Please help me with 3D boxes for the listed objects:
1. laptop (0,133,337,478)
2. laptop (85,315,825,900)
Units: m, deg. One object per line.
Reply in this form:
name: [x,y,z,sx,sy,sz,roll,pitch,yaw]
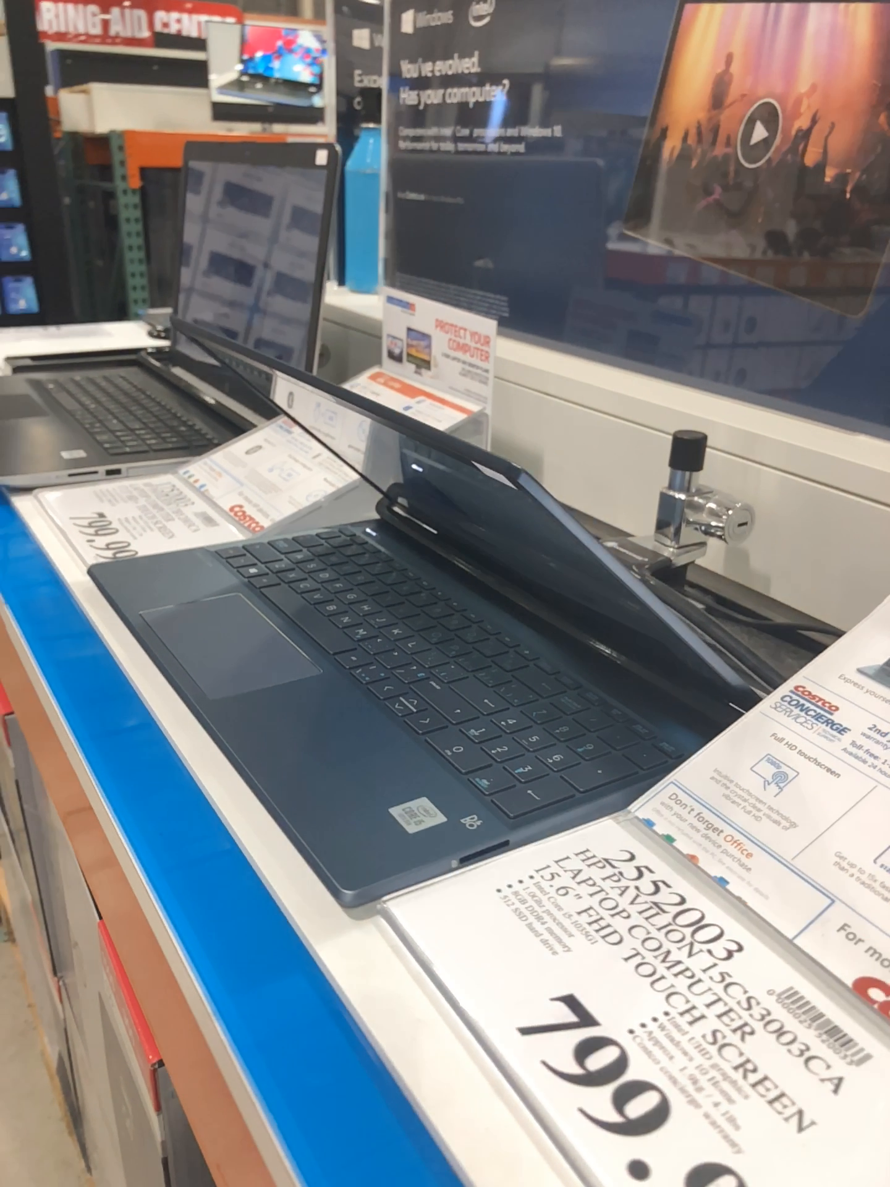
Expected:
laptop: [-0.298,-0.287,0.893,0.287,0.227,0.344,-14,28,-31]
laptop: [-0.026,-0.041,0.514,0.217,0.149,0.348,-12,27,-29]
